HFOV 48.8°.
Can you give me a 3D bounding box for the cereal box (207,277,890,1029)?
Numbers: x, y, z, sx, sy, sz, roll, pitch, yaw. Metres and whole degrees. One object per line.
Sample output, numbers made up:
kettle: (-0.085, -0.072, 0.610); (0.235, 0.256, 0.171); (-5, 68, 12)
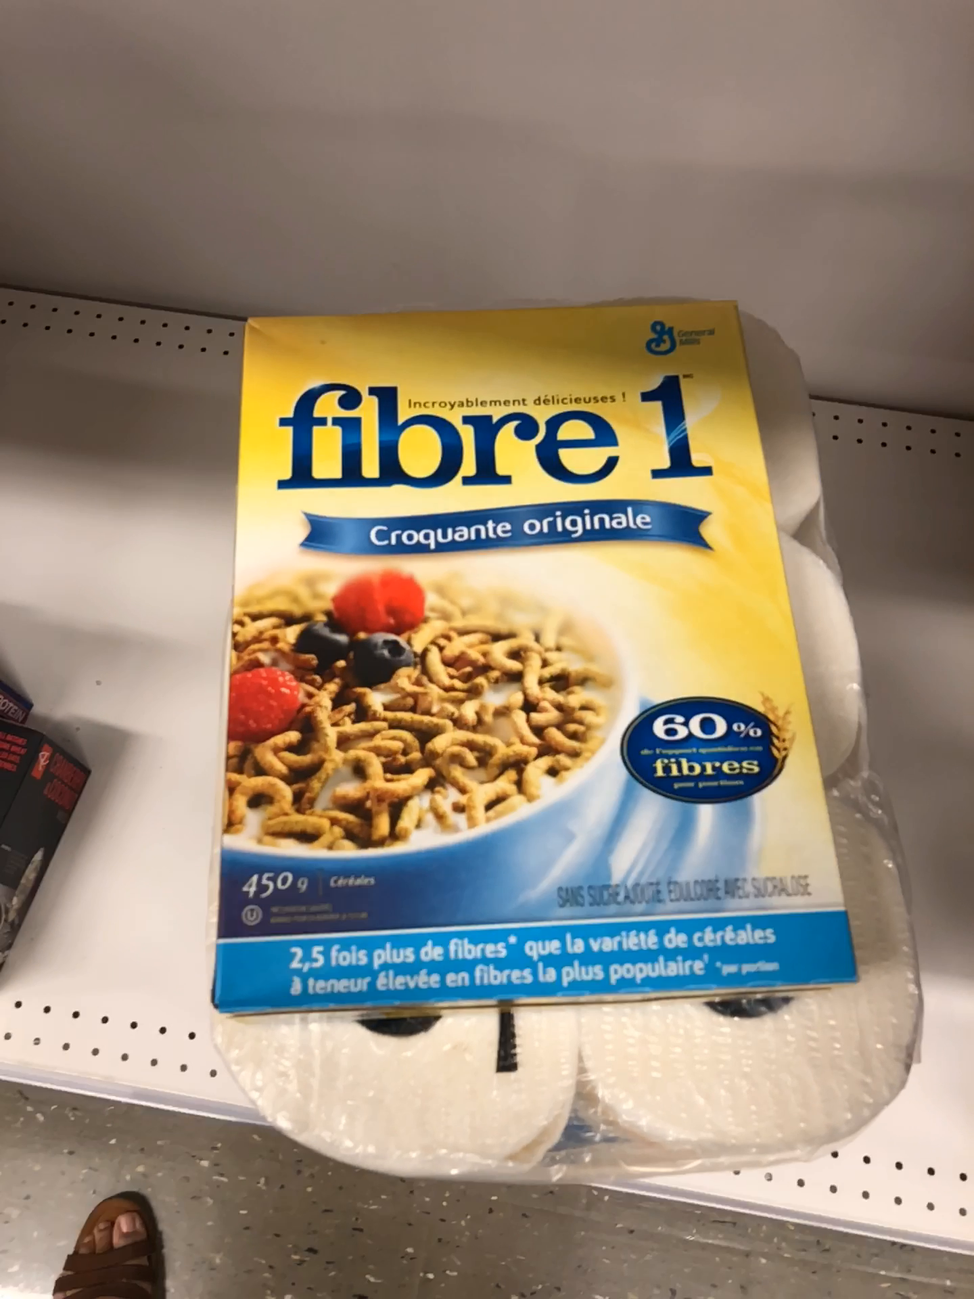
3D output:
cereal box: (0.014, -0.005, 0.388); (0.200, 0.060, 0.260); (-2, 70, -1)
